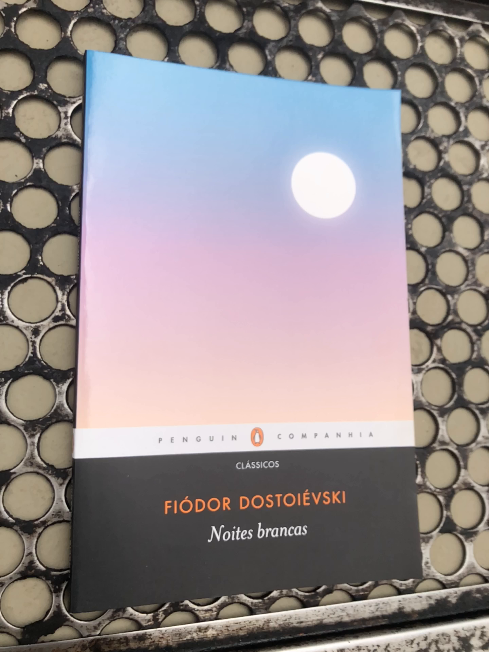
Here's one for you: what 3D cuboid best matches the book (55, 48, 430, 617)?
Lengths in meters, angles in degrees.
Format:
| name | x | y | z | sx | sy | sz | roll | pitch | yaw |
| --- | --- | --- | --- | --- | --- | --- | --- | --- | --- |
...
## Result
| name | x | y | z | sx | sy | sz | roll | pitch | yaw |
| --- | --- | --- | --- | --- | --- | --- | --- | --- | --- |
| book | 0.003 | -0.001 | 0.205 | 0.133 | 0.010 | 0.191 | 1 | 83 | -14 |
